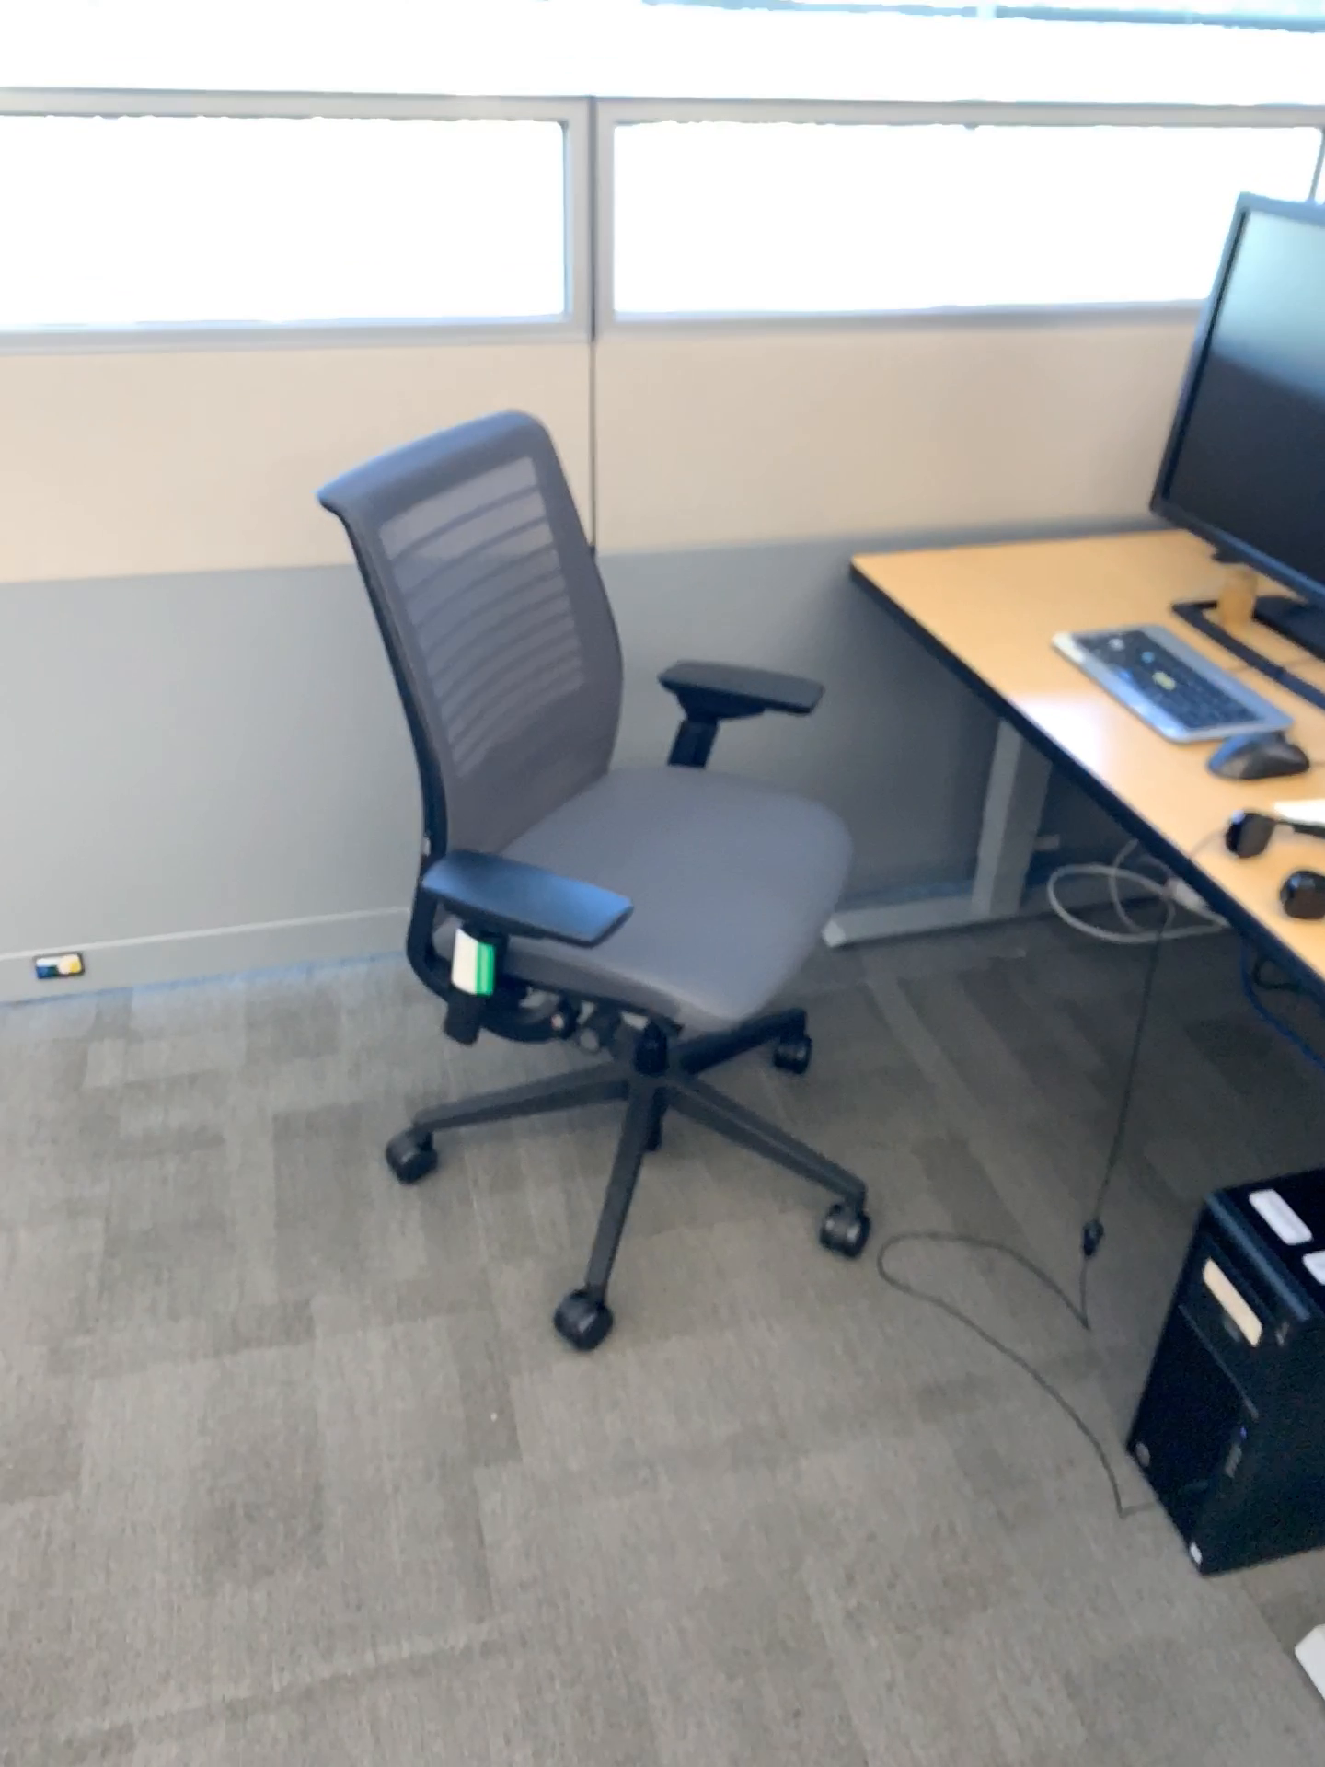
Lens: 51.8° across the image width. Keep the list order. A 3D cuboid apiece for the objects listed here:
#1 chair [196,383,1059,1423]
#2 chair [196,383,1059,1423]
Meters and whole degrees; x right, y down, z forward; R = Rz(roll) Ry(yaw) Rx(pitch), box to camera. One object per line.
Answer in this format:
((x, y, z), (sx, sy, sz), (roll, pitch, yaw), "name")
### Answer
((-0.002, -0.029, 1.946), (0.802, 1.083, 0.773), (14, 34, 19), "chair")
((-0.002, -0.029, 1.946), (0.802, 1.083, 0.773), (14, 34, 19), "chair")
